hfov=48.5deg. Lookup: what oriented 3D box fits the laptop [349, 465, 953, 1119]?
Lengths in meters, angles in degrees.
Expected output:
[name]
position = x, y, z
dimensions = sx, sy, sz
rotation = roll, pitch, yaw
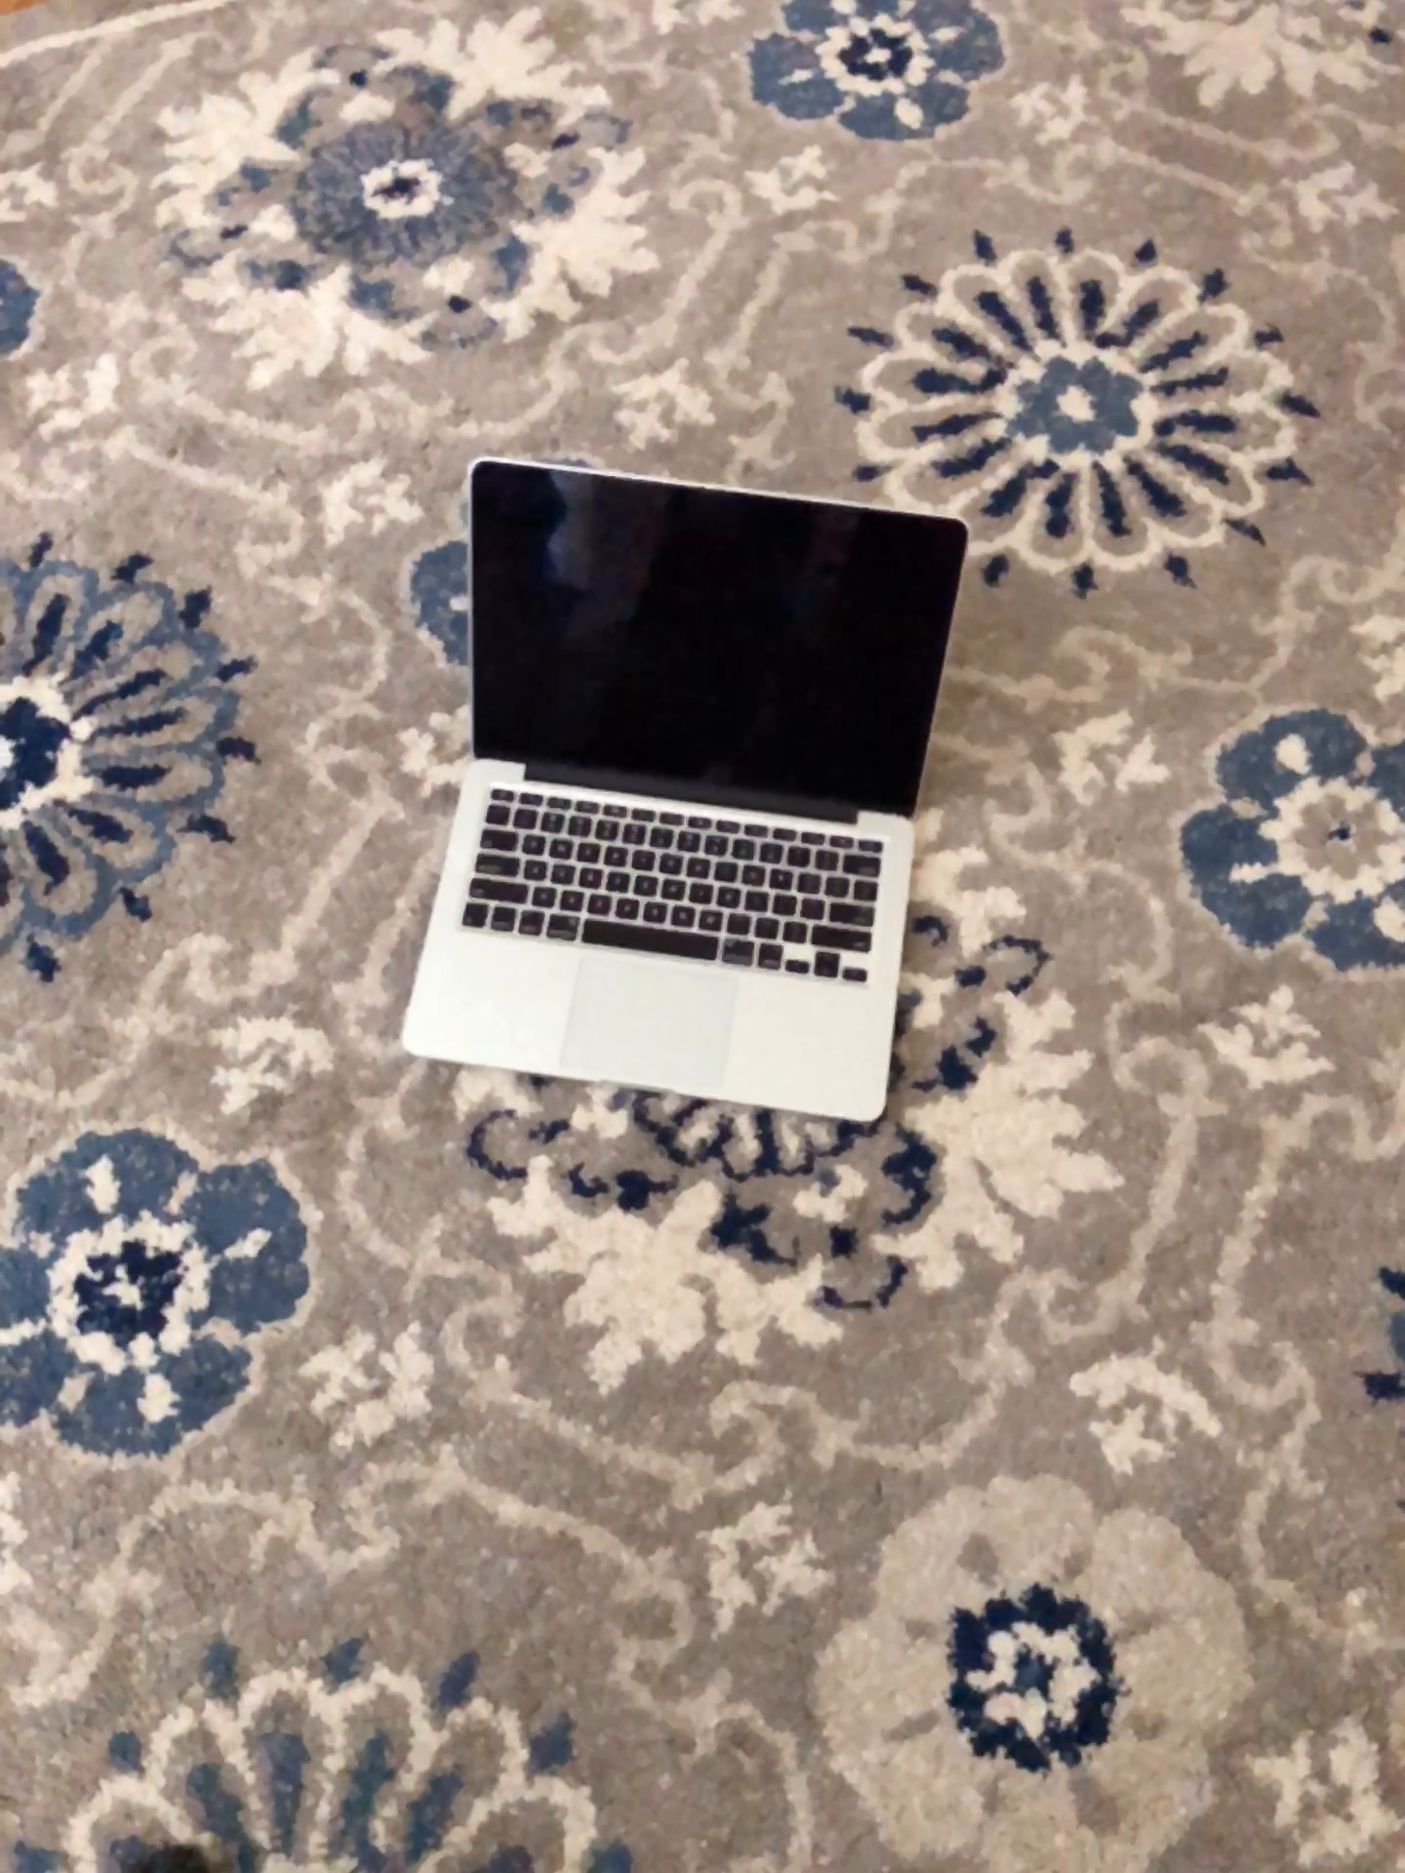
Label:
[laptop]
position = -0.017, -0.087, 0.959
dimensions = 0.300, 0.171, 0.322
rotation = 8, 66, 2
